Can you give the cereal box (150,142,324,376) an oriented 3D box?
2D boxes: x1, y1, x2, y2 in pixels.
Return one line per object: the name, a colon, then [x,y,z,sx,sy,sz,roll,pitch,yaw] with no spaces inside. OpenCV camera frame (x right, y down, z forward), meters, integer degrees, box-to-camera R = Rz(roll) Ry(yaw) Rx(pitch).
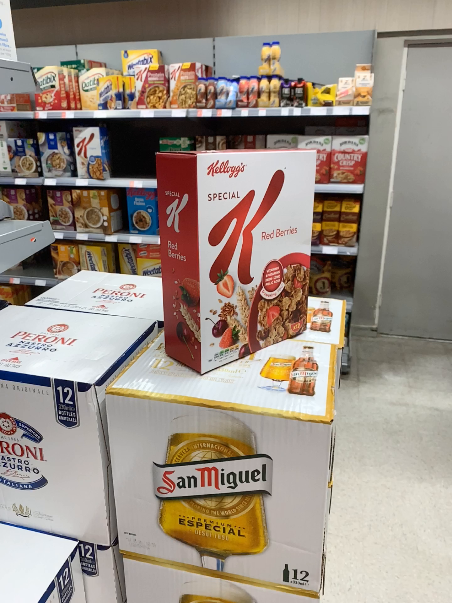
cereal box: [0.022,-0.063,0.560,0.201,0.238,0.070,-17,24,-38]
